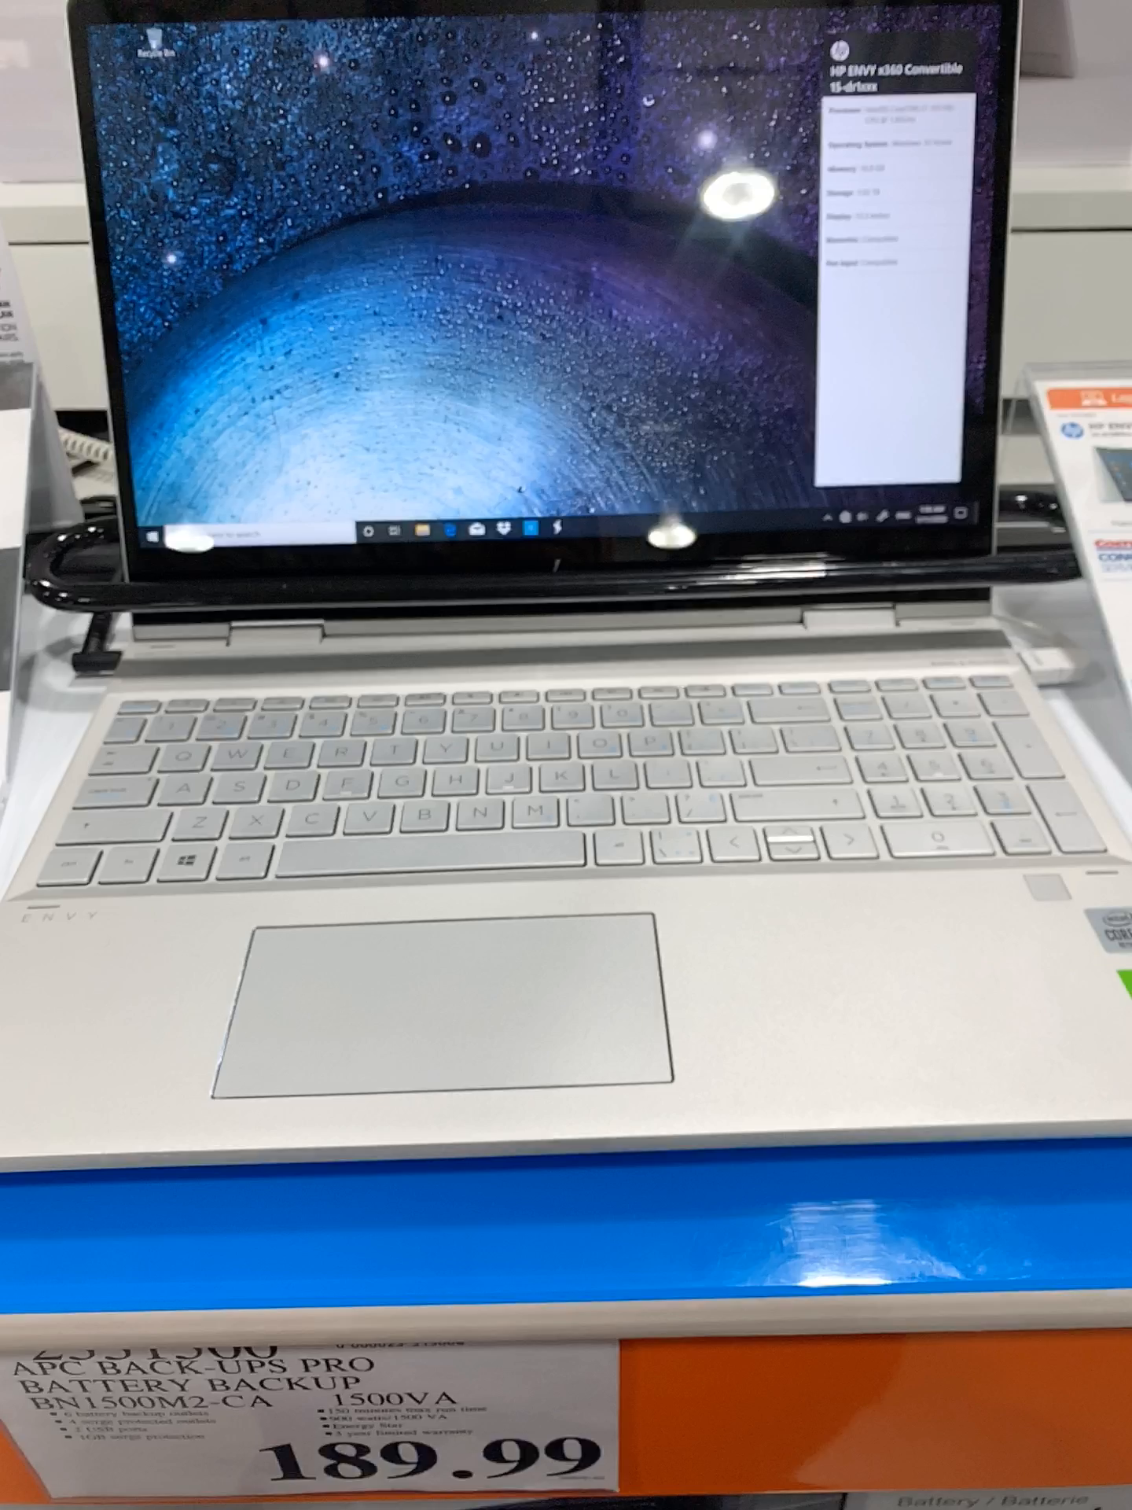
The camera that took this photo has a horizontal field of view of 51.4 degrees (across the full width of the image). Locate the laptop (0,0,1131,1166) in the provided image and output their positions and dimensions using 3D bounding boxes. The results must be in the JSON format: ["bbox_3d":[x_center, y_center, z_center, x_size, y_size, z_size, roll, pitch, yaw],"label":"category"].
[{"bbox_3d":[-0.003,-0.094,0.356,0.346,0.210,0.341,-2,38,-1],"label":"laptop"}]
